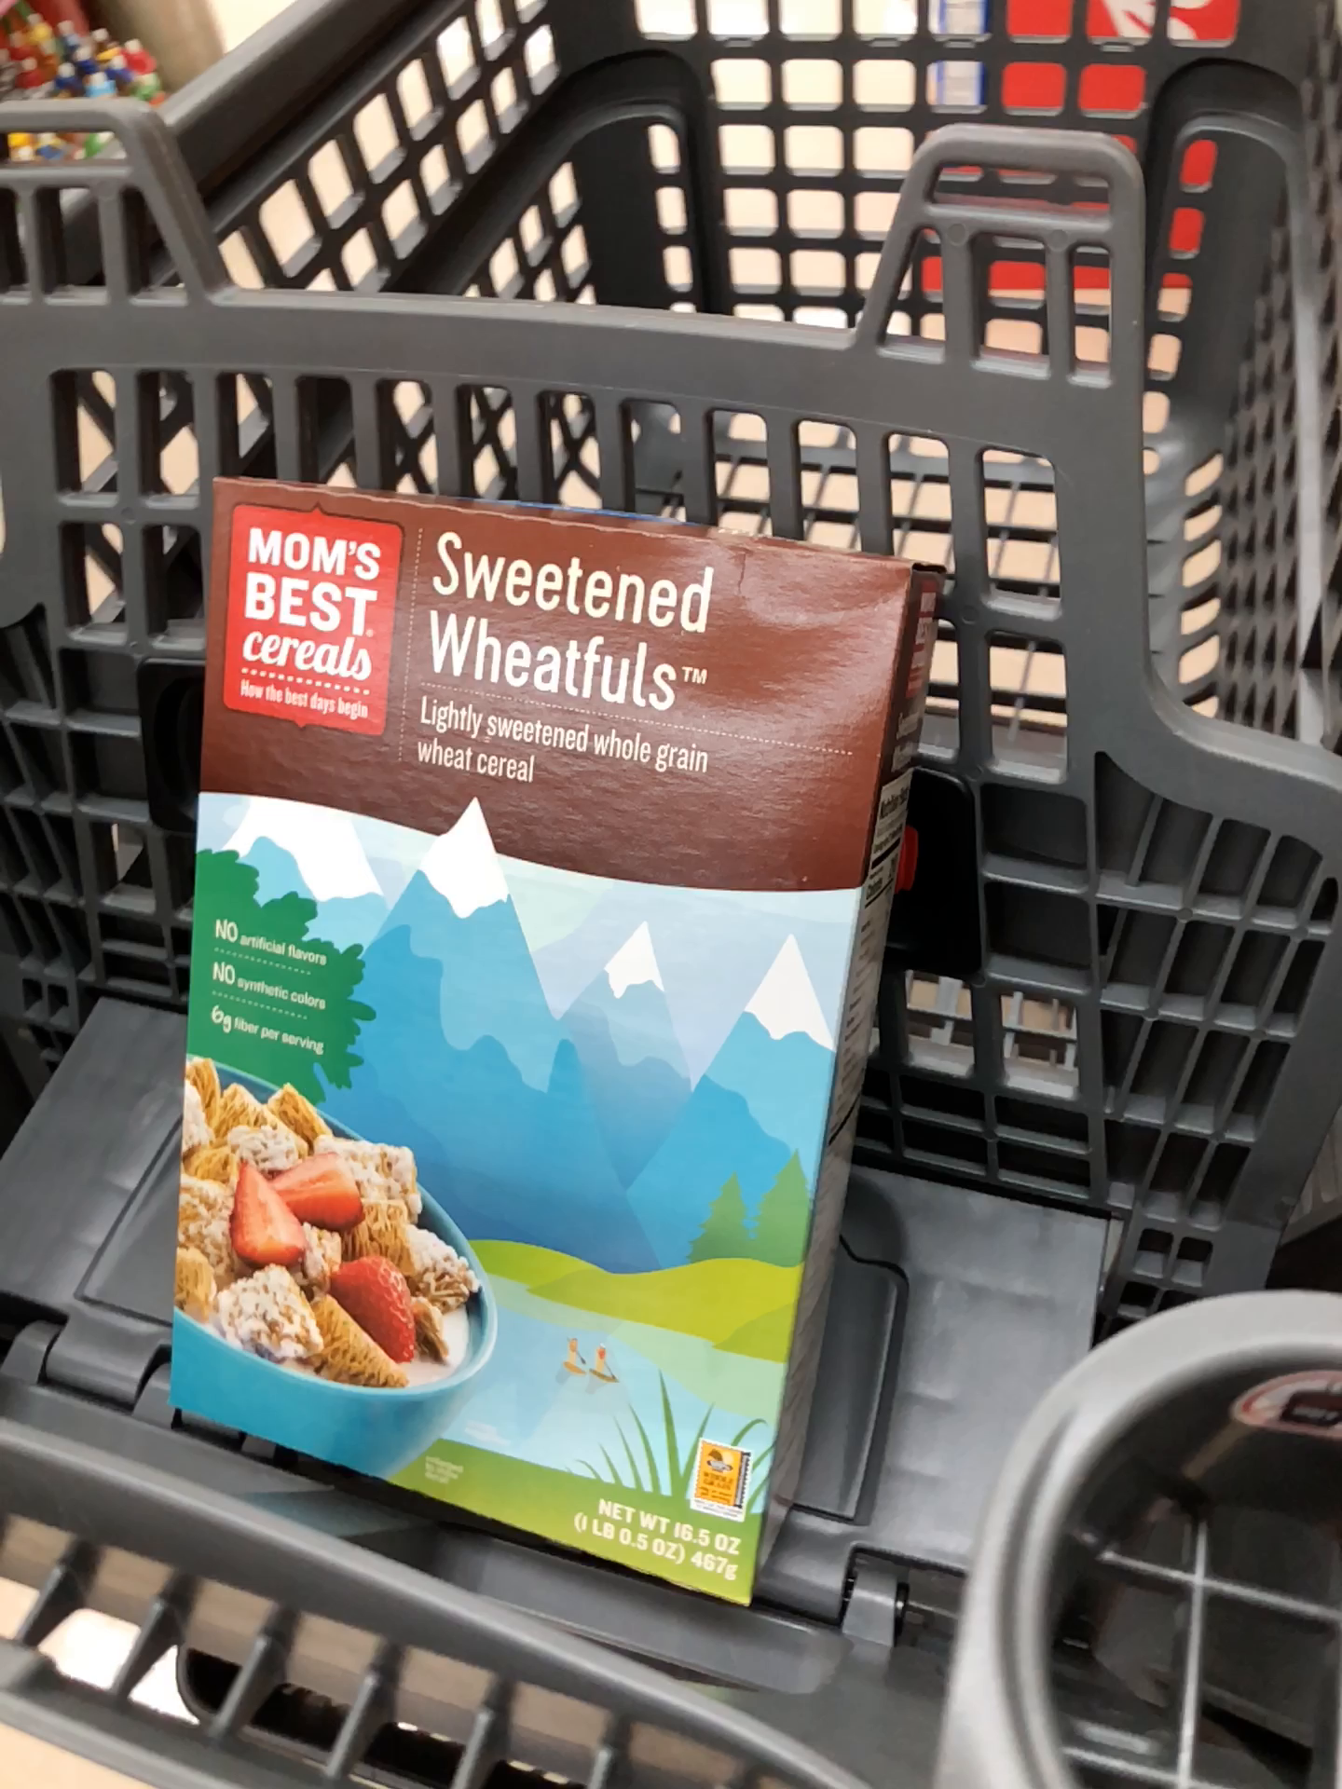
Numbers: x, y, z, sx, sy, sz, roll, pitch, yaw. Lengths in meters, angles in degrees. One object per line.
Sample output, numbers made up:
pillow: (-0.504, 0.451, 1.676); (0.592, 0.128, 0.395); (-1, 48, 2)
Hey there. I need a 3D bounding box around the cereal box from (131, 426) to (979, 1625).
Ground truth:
cereal box: (-0.041, 0.029, 0.430); (0.200, 0.290, 0.080); (12, 14, 17)
